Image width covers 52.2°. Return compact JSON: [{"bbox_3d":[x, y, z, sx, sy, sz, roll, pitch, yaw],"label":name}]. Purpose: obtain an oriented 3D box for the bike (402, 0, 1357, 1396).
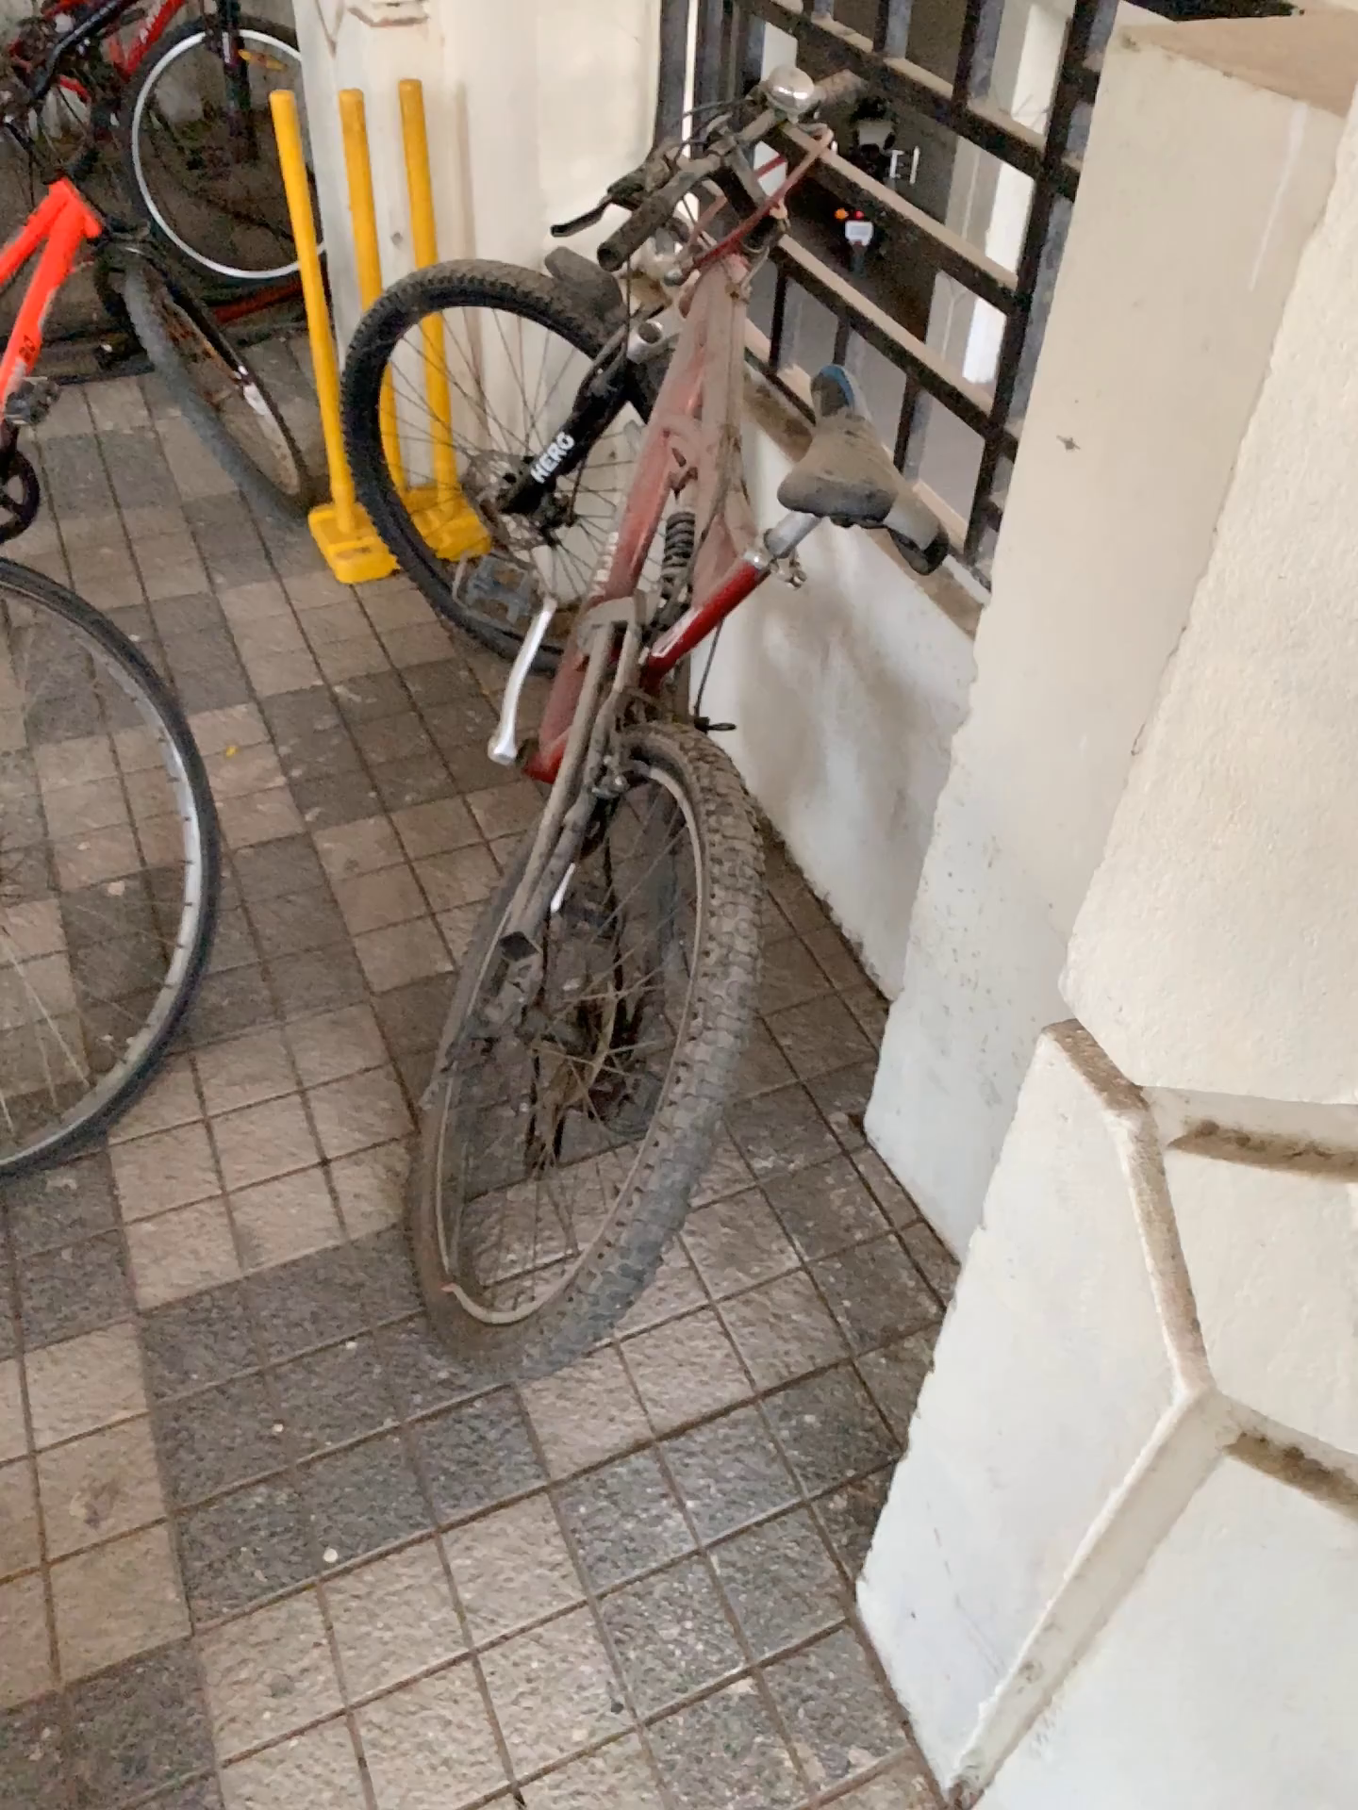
[{"bbox_3d":[0.117,-0.451,1.533,0.608,0.831,1.470,-7,53,-11],"label":"bike"}]
